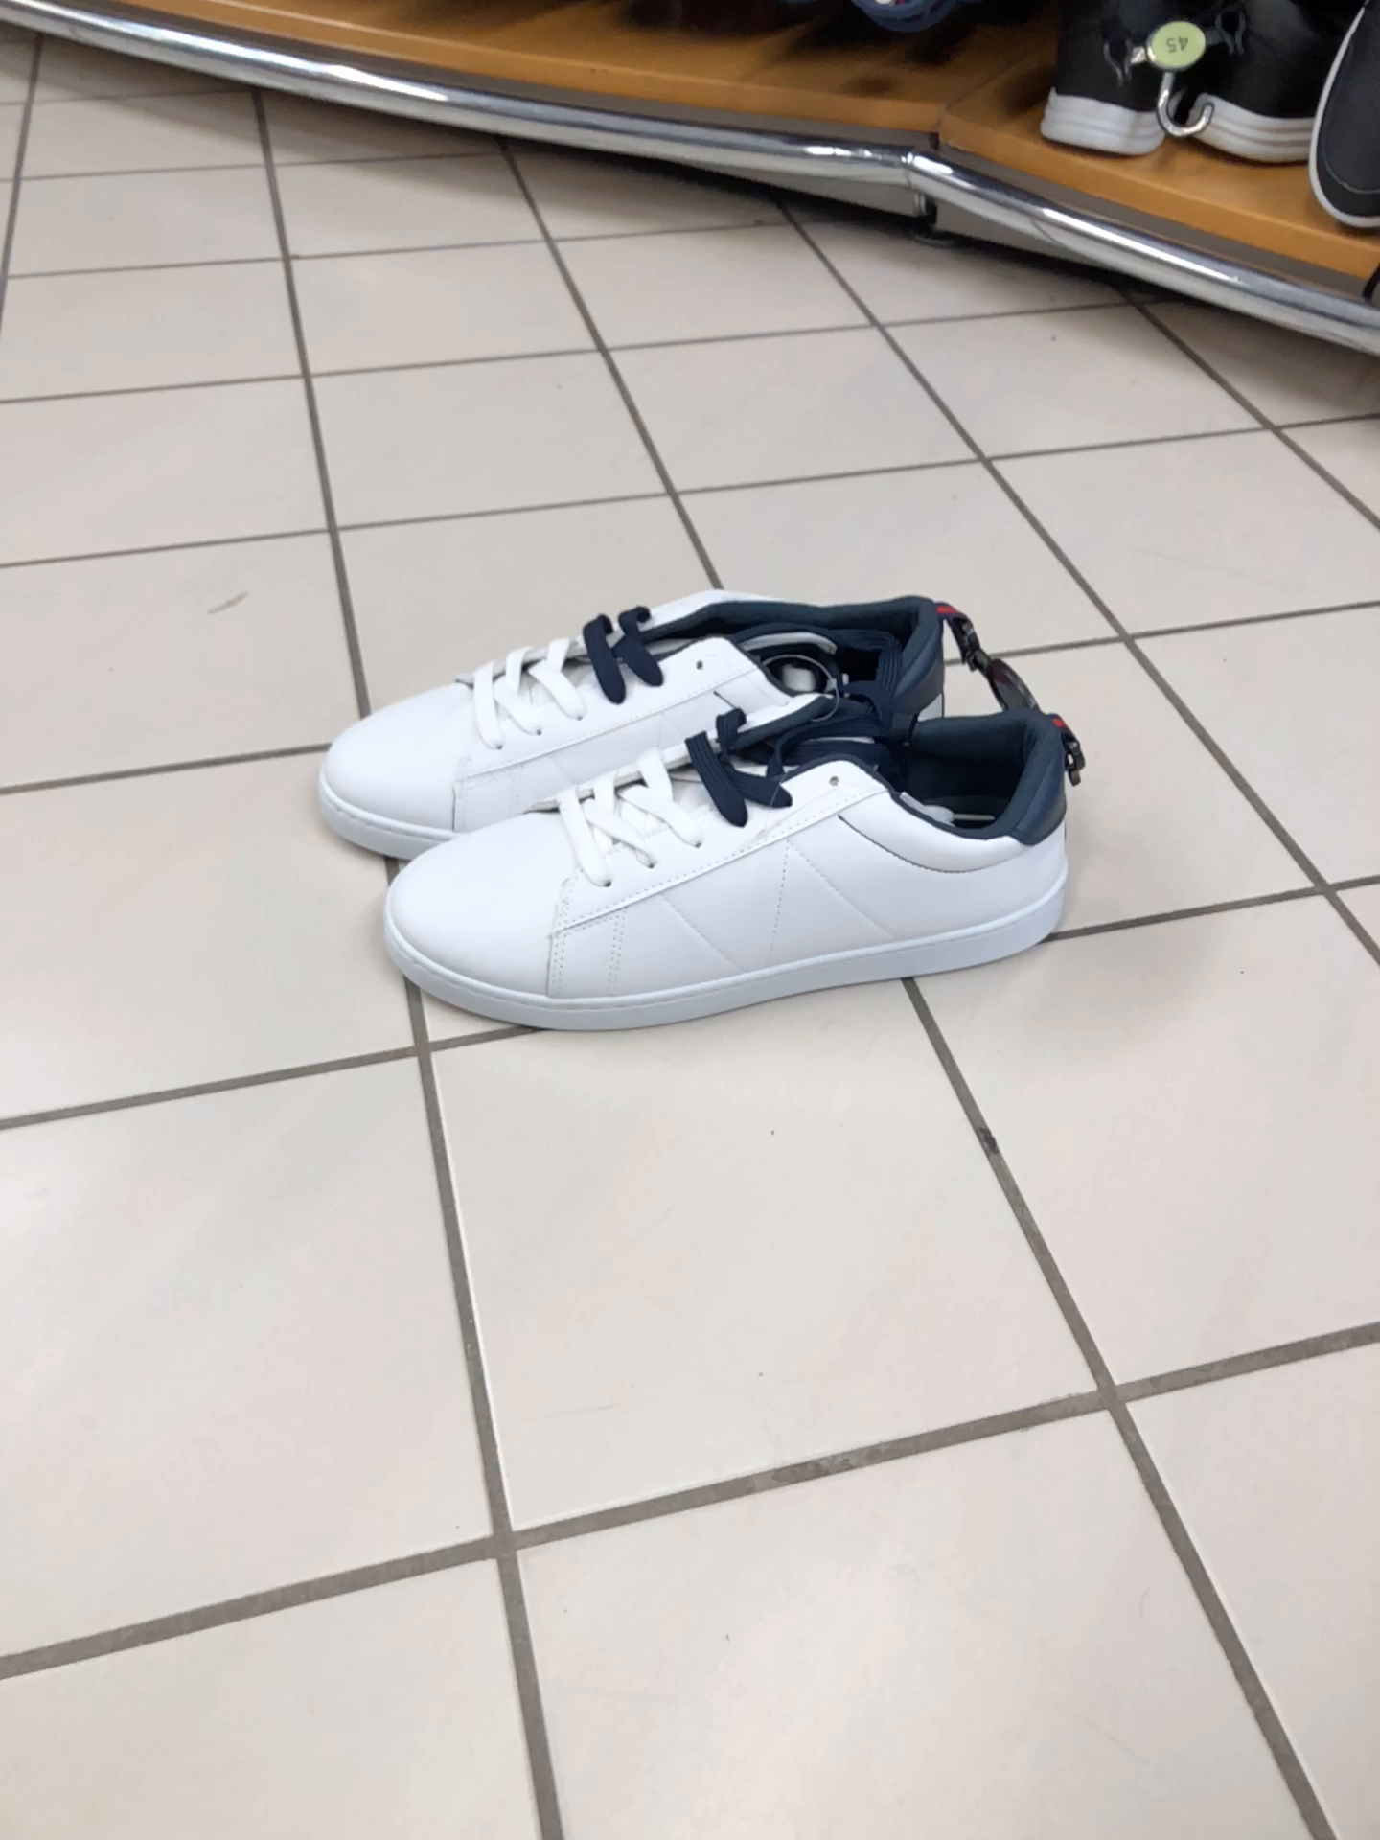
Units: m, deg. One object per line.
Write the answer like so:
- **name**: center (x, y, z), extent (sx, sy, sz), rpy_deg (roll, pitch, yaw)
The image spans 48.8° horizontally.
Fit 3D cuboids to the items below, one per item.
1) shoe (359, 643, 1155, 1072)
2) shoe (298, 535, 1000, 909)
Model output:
- **shoe**: center (0.022, -0.029, 0.617), extent (0.290, 0.099, 0.101), rpy_deg (-7, 45, -9)
- **shoe**: center (-0.022, -0.093, 0.691), extent (0.290, 0.099, 0.101), rpy_deg (-7, 45, -9)
